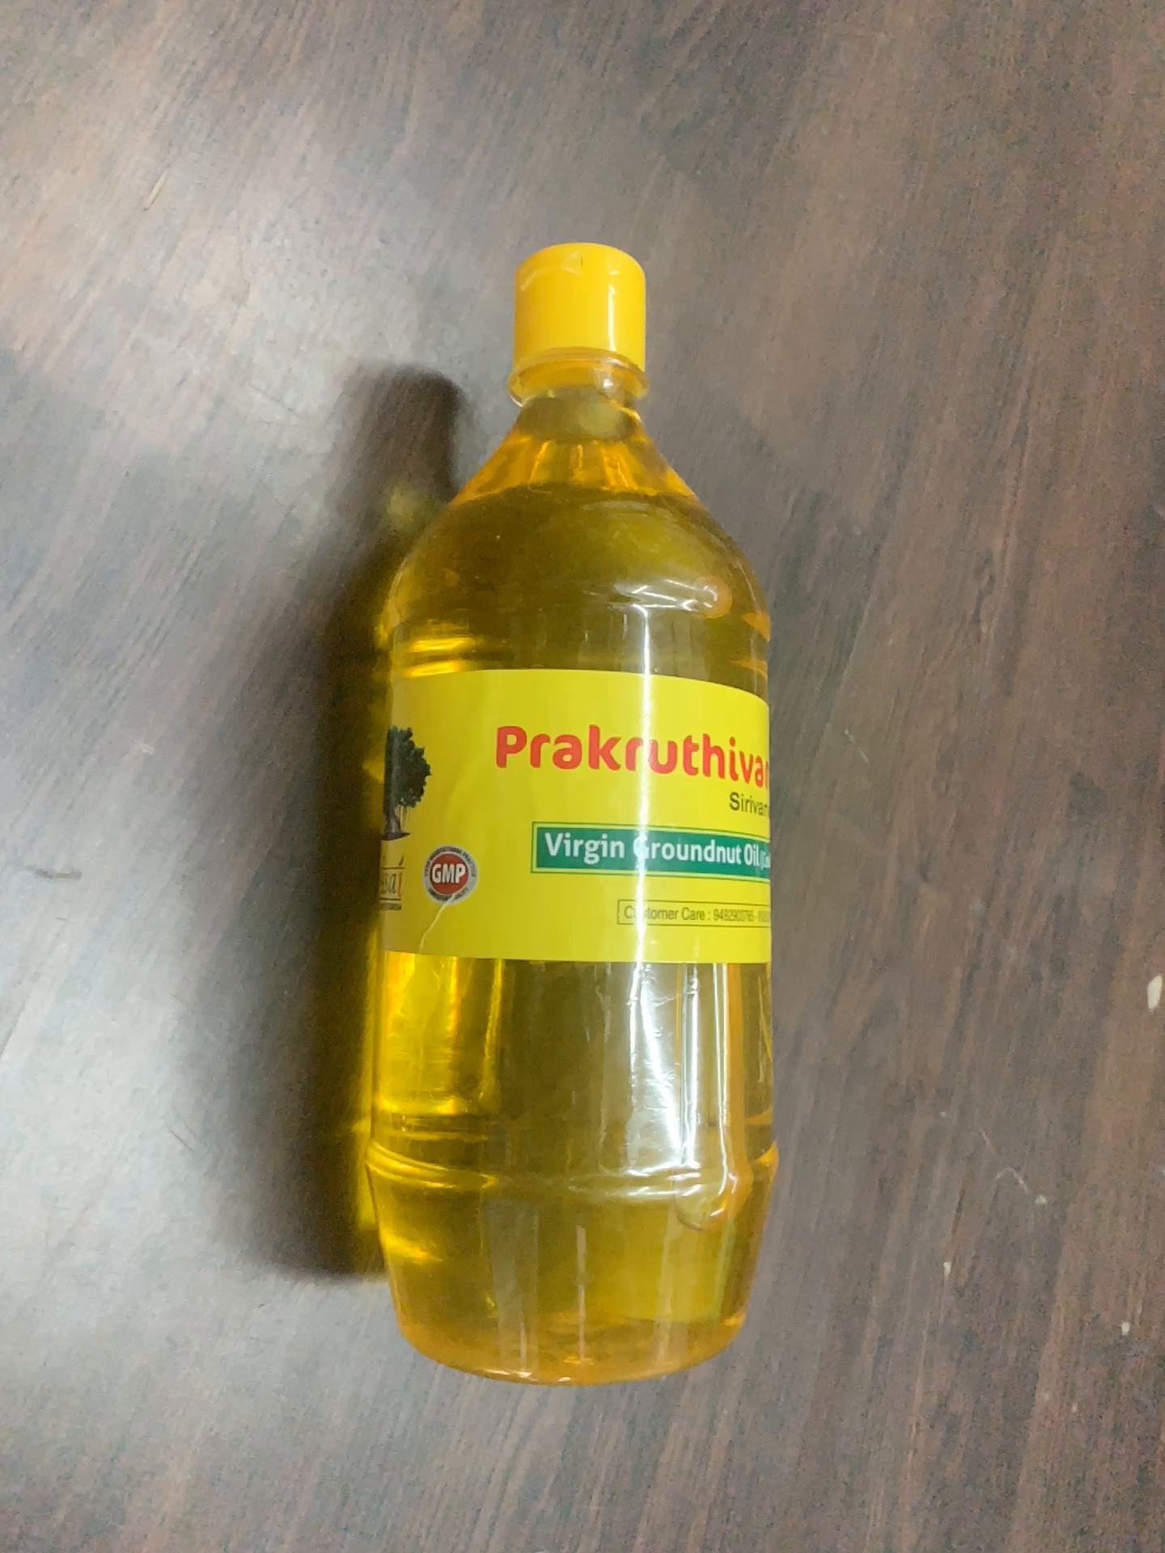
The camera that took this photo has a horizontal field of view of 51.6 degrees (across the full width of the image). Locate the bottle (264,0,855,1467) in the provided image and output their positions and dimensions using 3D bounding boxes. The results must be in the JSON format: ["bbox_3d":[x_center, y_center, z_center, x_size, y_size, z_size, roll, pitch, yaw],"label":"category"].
[{"bbox_3d":[-0.002,-0.016,0.259,0.090,0.080,0.260,7,81,-45],"label":"bottle"}]
